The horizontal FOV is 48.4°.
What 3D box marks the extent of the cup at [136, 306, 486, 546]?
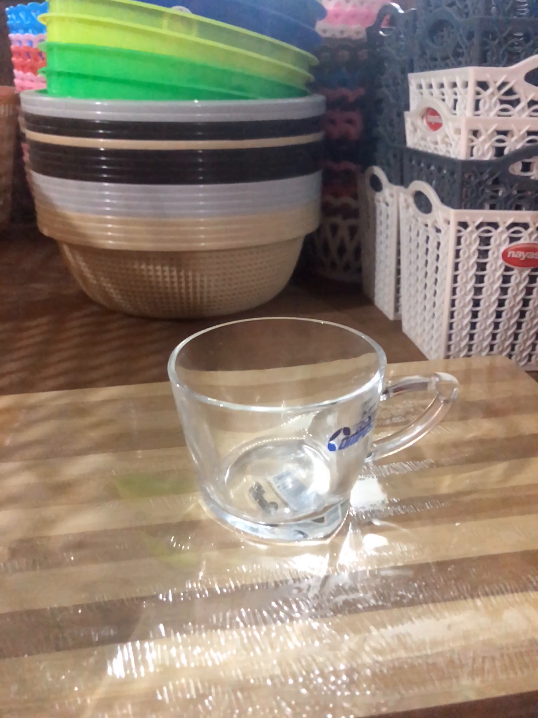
[{"bbox_3d":[0.013,0.021,0.231,0.110,0.060,0.070,-2,25,-2],"label":"cup"}]
